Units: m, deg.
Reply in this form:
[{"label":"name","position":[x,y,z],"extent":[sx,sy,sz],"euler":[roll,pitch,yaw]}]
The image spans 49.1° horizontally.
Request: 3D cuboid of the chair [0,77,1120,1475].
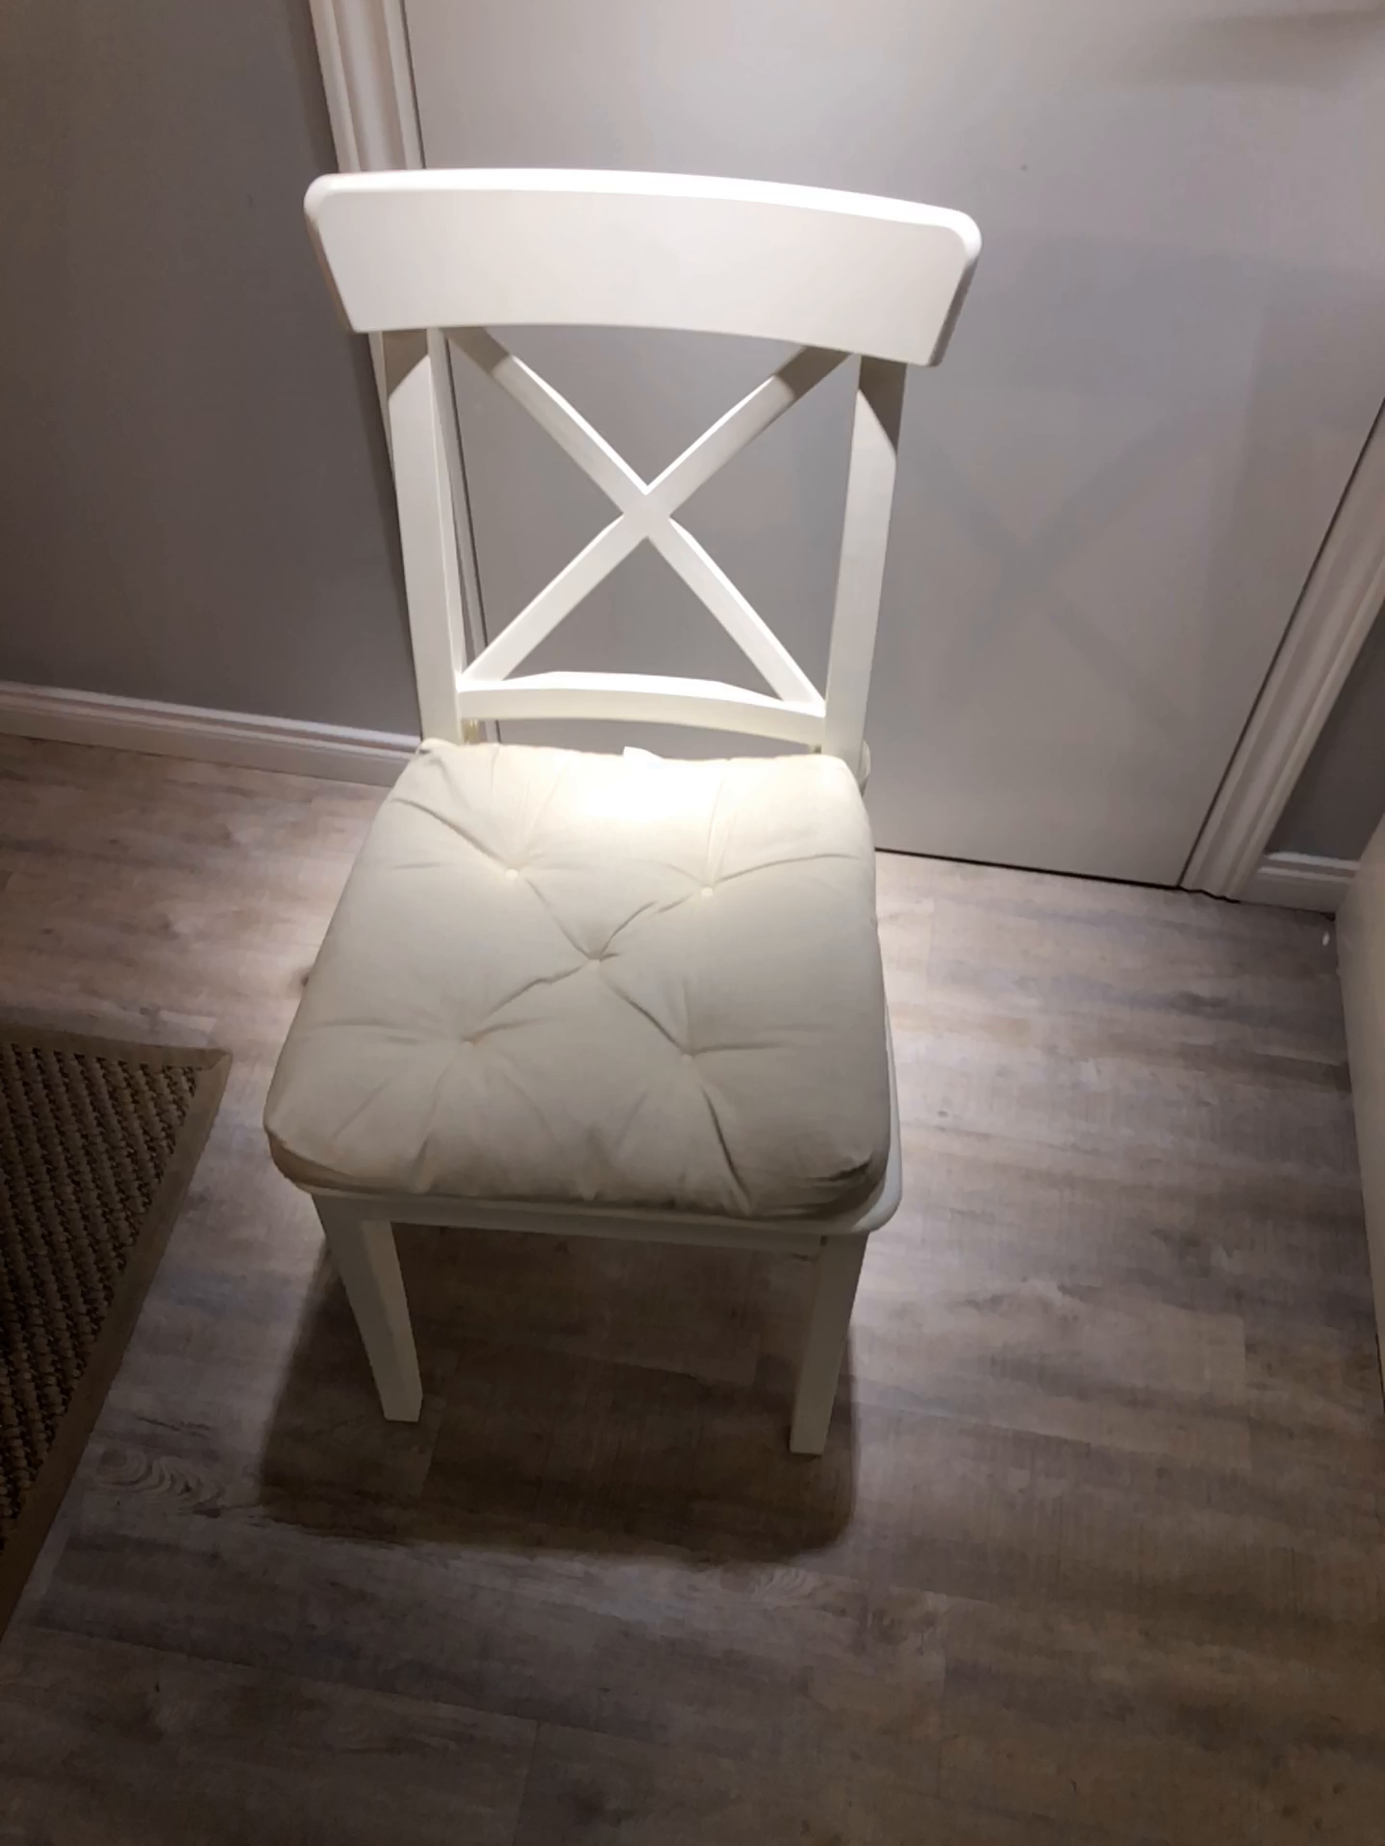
[{"label":"chair","position":[-0.052,-0.019,1.081],"extent":[0.450,0.875,0.513],"euler":[3,53,2]}]
